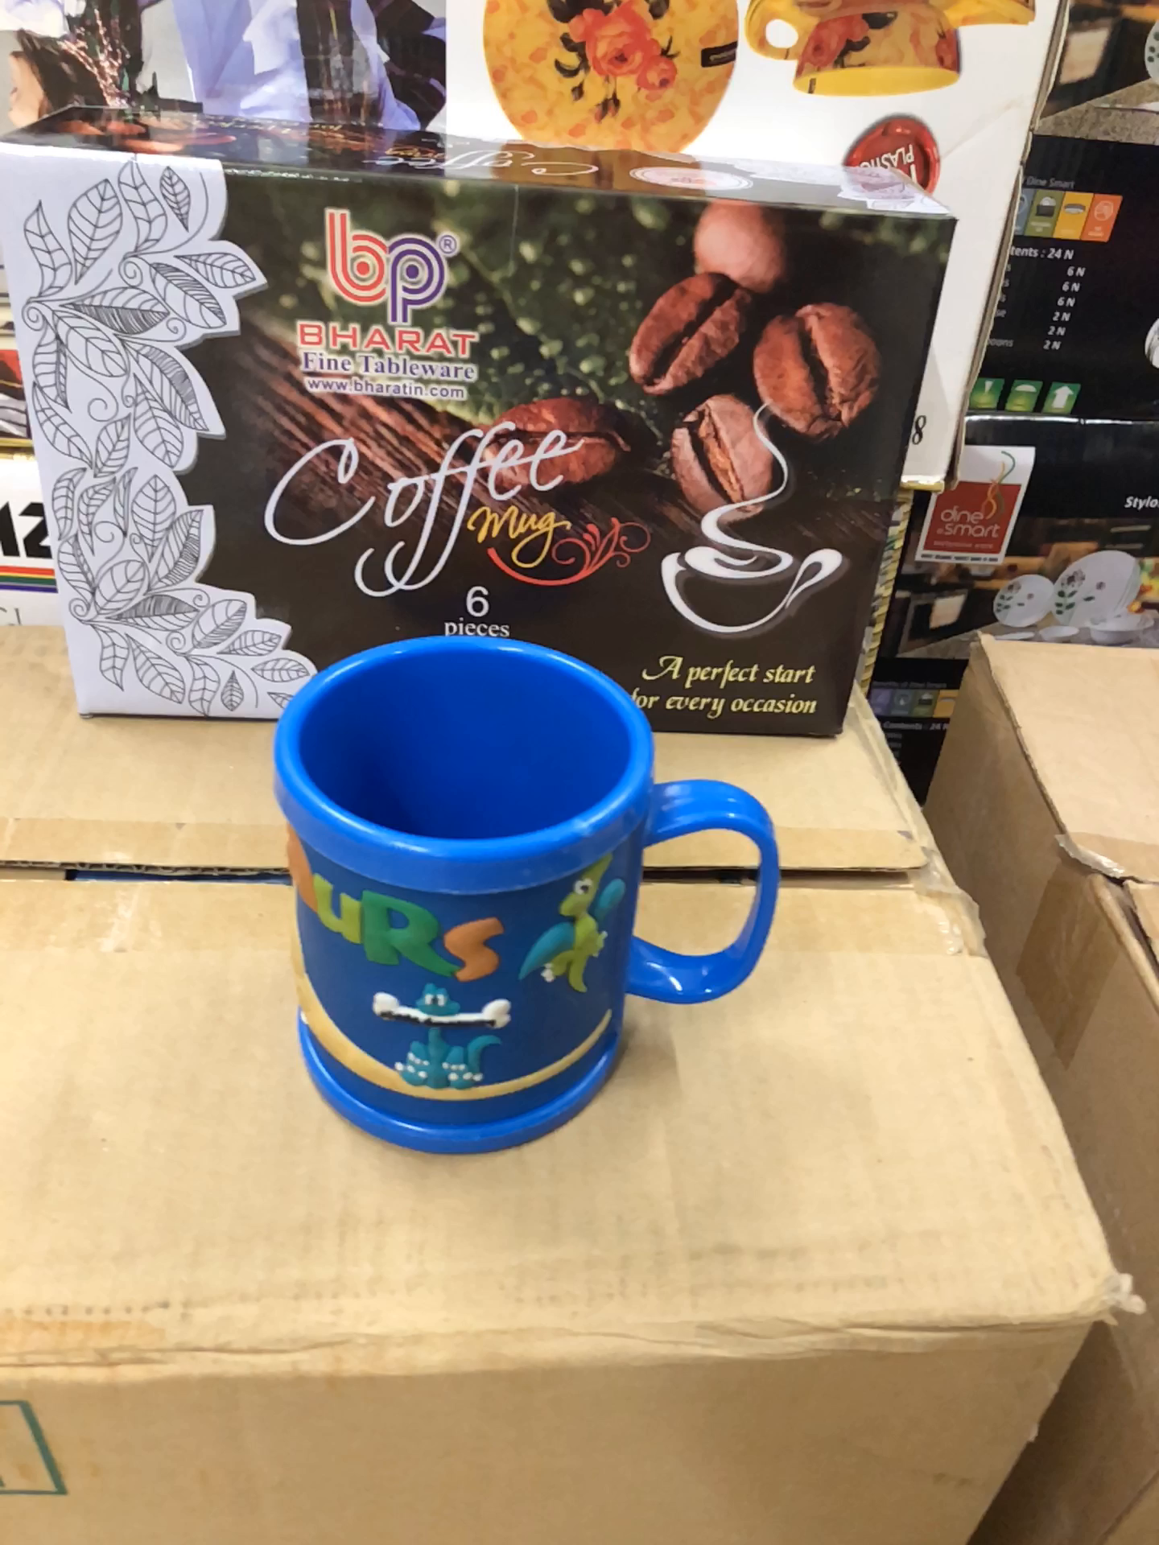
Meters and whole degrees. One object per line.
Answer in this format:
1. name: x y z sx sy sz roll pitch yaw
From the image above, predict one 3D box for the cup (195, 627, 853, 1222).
1. cup: -0.011 0.033 0.296 0.120 0.089 0.091 5 37 -1
